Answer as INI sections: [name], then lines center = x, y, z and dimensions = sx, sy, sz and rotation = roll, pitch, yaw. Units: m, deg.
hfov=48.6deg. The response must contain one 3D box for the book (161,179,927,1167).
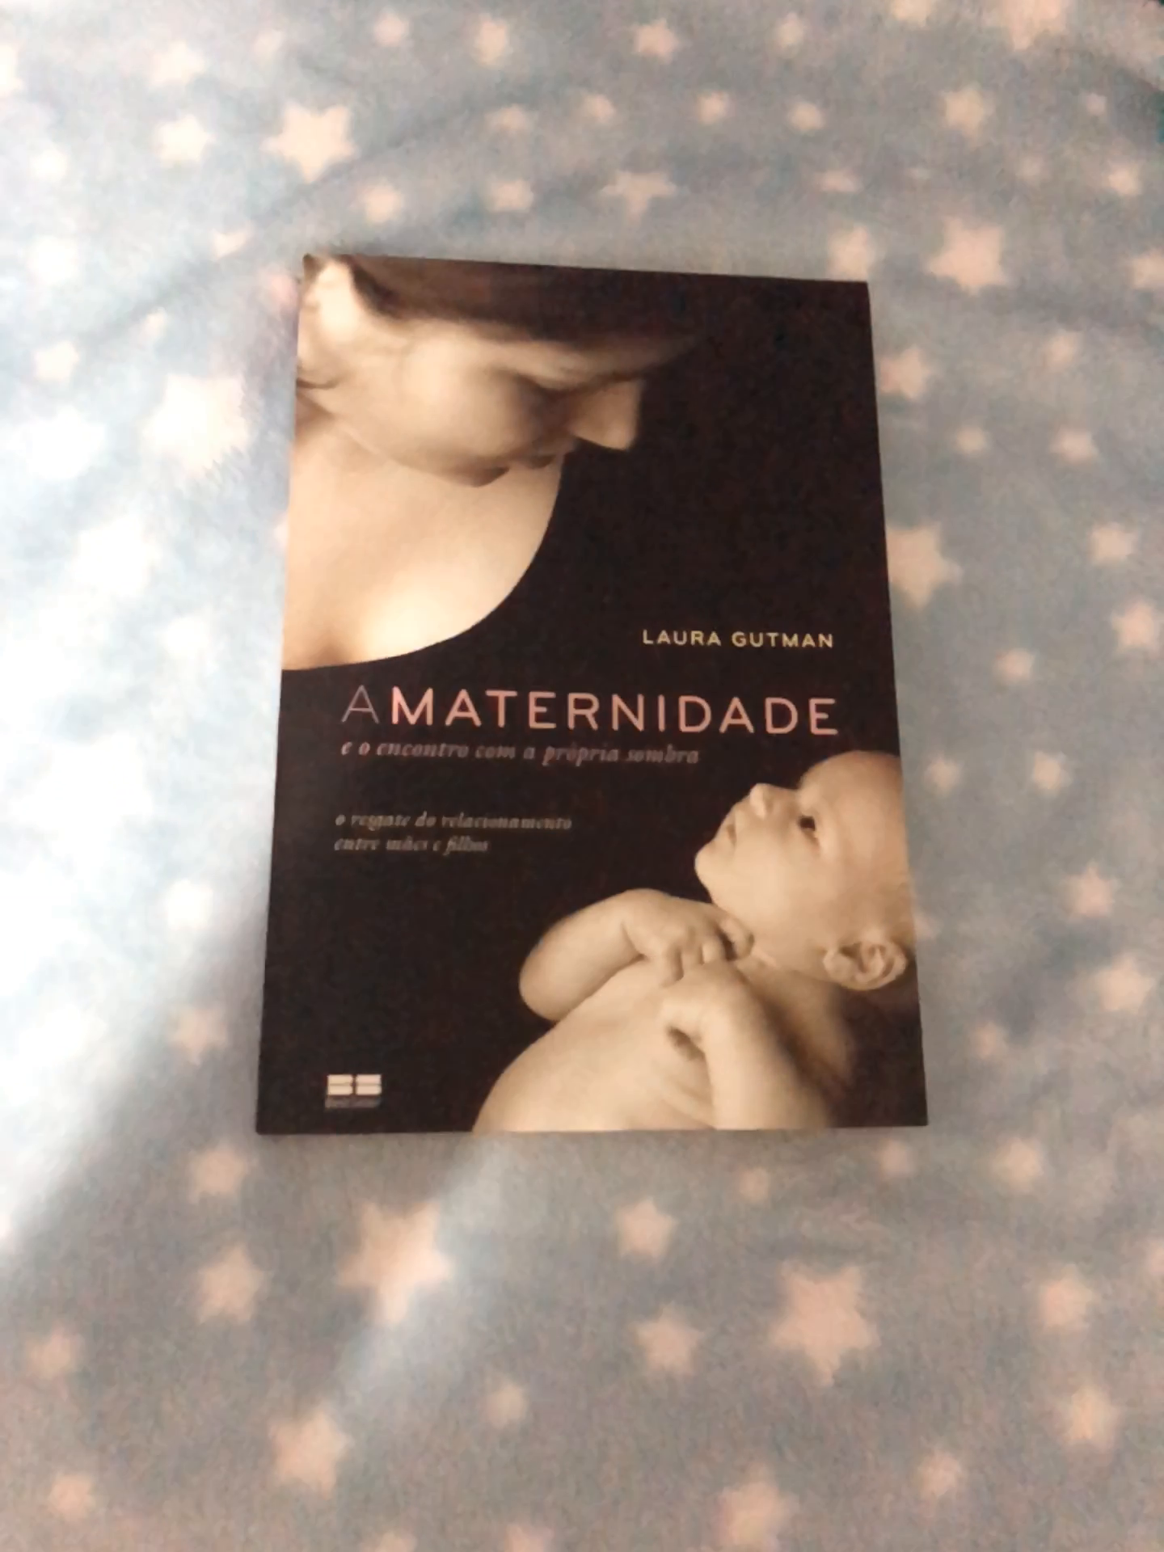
[book]
center = -0.008, -0.030, 0.317
dimensions = 0.160, 0.030, 0.240
rotation = 1, 74, -6
